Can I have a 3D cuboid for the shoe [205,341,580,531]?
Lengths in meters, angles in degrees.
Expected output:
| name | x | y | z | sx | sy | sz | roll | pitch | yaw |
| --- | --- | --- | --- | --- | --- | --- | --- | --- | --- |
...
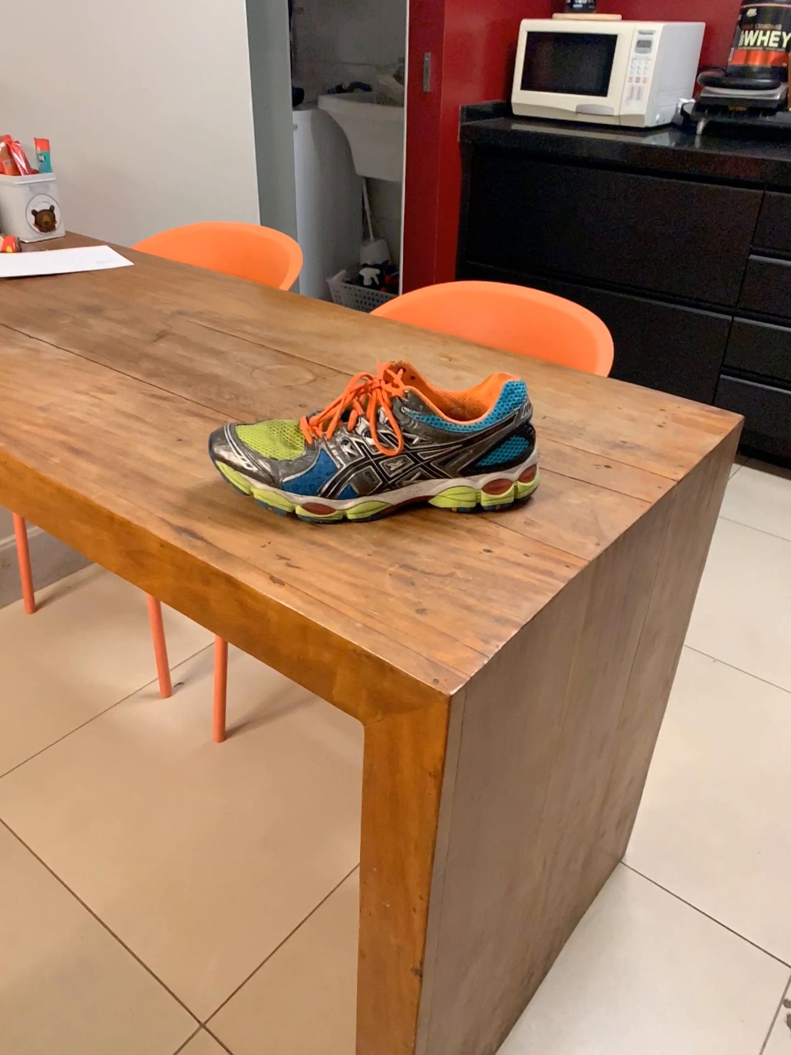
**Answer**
| name | x | y | z | sx | sy | sz | roll | pitch | yaw |
| --- | --- | --- | --- | --- | --- | --- | --- | --- | --- |
| shoe | -0.009 | -0.087 | 0.722 | 0.301 | 0.109 | 0.126 | -4 | 33 | -9 |
